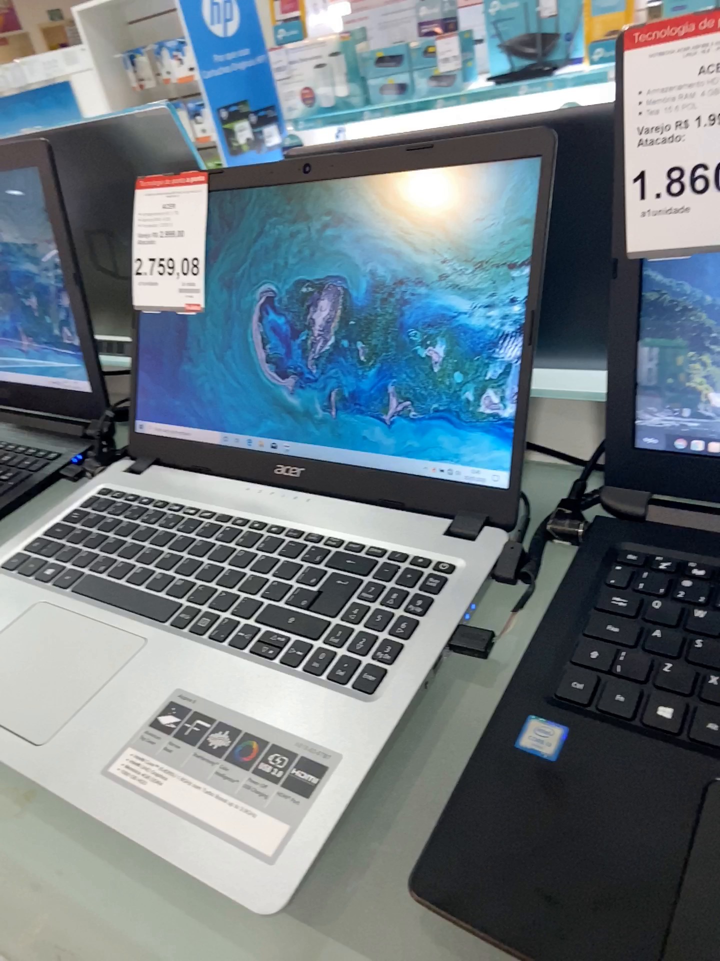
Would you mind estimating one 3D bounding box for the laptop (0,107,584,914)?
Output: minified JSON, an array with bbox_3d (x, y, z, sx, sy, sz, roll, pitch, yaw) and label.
[{"bbox_3d":[-0.105,-0.044,0.440,0.351,0.198,0.363,8,39,33],"label":"laptop"}]
